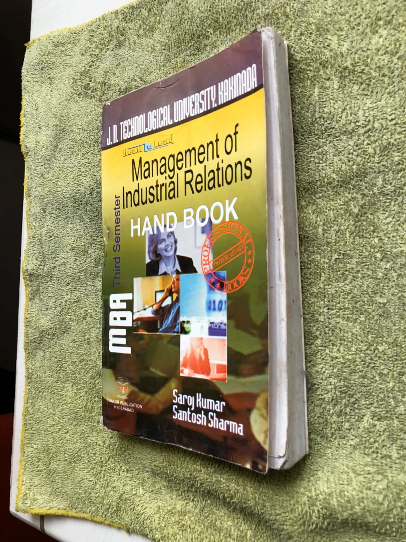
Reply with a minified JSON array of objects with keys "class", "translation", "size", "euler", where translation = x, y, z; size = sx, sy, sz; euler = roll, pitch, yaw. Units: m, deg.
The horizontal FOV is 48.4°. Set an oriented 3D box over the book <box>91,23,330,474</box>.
[{"class":"book","translation":[-0.002,-0.010,0.280],"size":[0.141,0.050,0.220],"euler":[-4,84,36]}]
